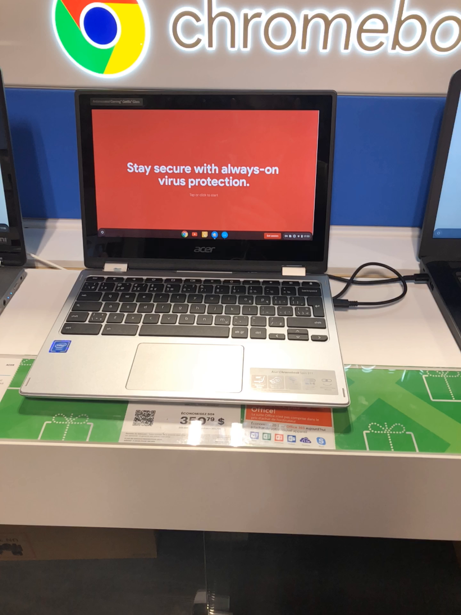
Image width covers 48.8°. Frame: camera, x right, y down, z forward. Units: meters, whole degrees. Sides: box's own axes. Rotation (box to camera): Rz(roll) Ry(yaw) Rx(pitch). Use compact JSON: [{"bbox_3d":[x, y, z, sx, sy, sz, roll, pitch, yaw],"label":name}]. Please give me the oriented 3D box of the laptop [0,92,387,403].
[{"bbox_3d":[-0.035,-0.076,0.497,0.284,0.181,0.274,2,37,2],"label":"laptop"}]
